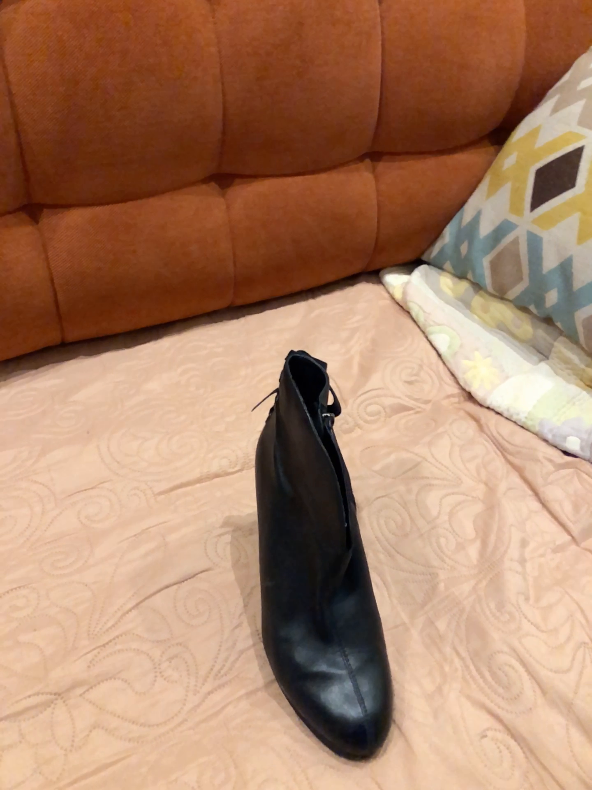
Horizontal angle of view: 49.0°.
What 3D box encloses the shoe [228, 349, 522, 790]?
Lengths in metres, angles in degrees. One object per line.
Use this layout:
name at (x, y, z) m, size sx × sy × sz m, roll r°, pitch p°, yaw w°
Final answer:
shoe at (0.026, 0.109, 0.436) m, size 0.095 × 0.169 × 0.221 m, roll -8°, pitch 44°, yaw -16°
